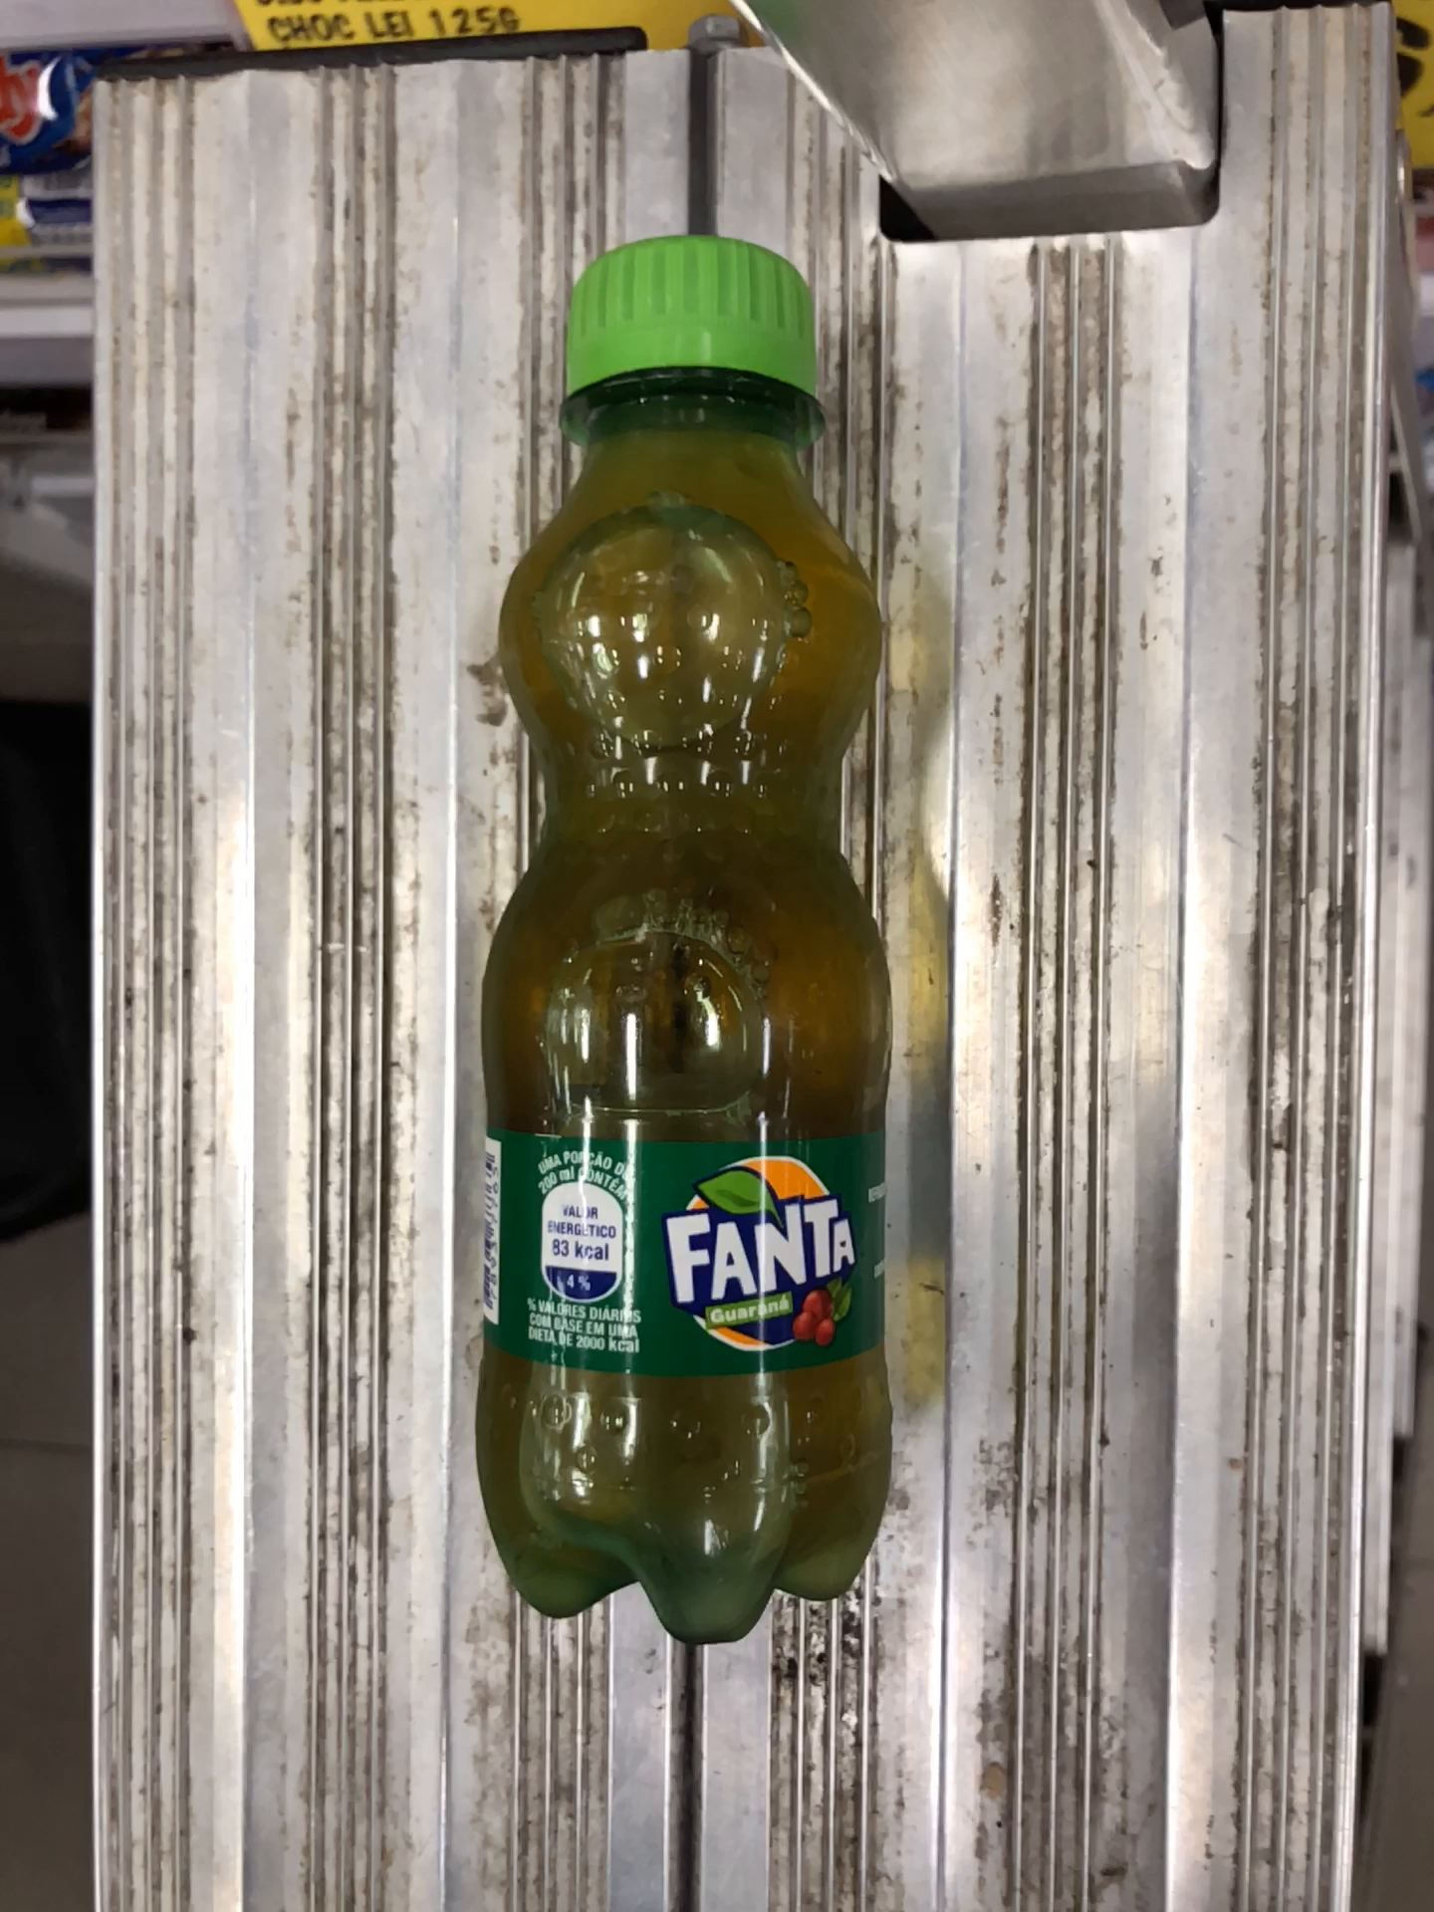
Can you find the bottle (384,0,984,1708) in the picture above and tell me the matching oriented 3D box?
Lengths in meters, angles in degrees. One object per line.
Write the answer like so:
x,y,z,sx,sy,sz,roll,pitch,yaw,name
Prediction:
-0.005,-0.012,0.191,0.050,0.050,0.170,-1,88,54,bottle
